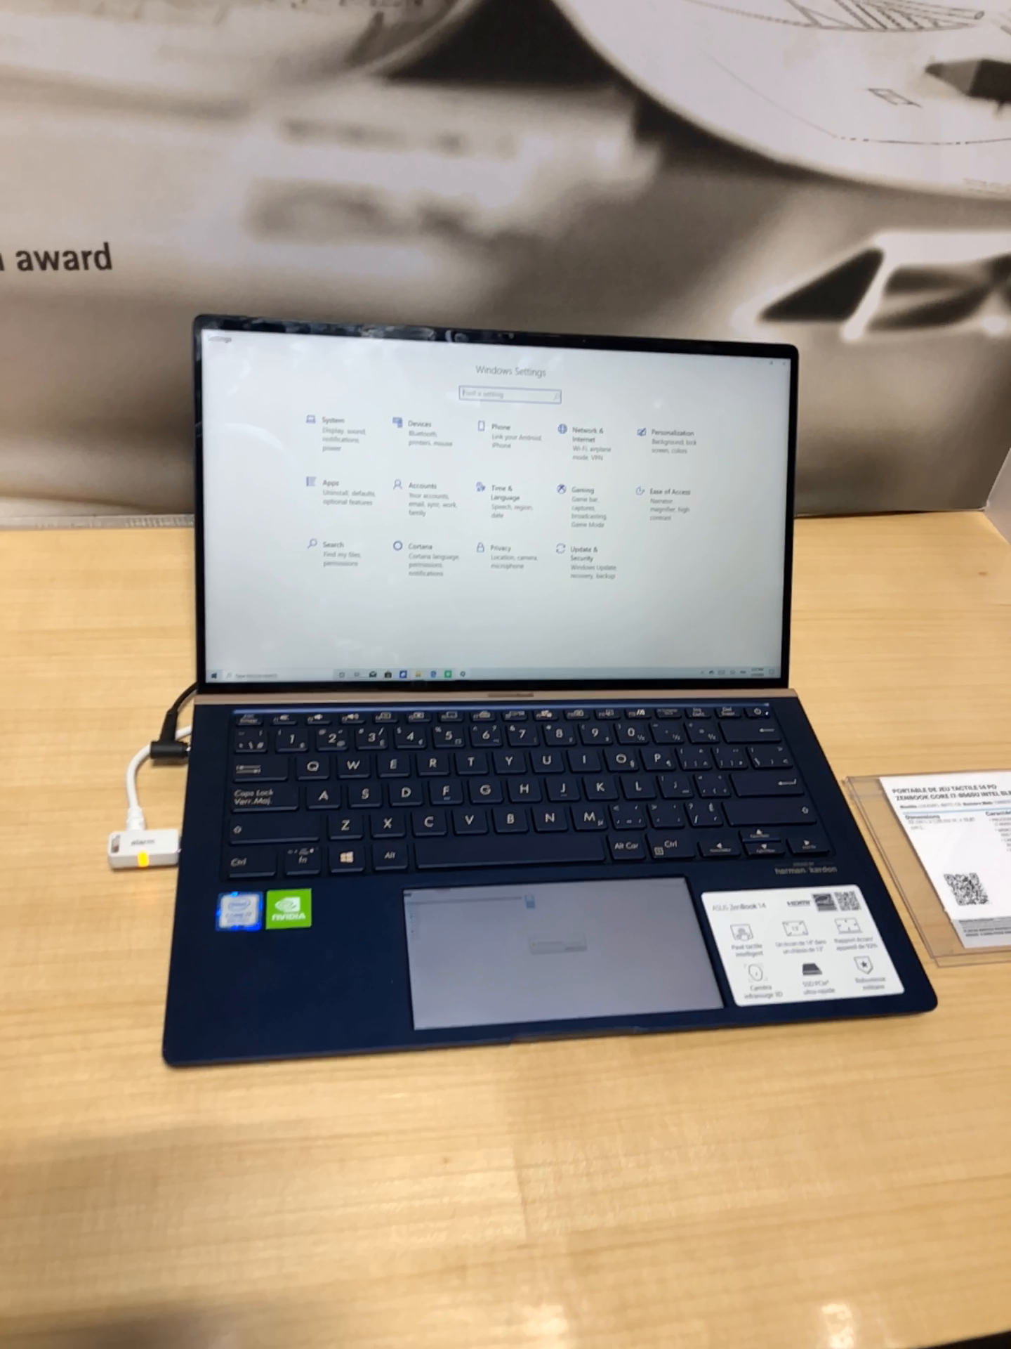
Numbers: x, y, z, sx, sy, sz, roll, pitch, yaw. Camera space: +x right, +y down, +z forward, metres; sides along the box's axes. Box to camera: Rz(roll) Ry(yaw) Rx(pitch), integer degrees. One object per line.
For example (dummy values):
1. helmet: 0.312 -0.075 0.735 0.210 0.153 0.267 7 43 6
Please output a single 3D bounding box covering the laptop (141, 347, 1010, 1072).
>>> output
1. laptop: 0.025 -0.012 0.540 0.332 0.159 0.322 -1 41 -10
